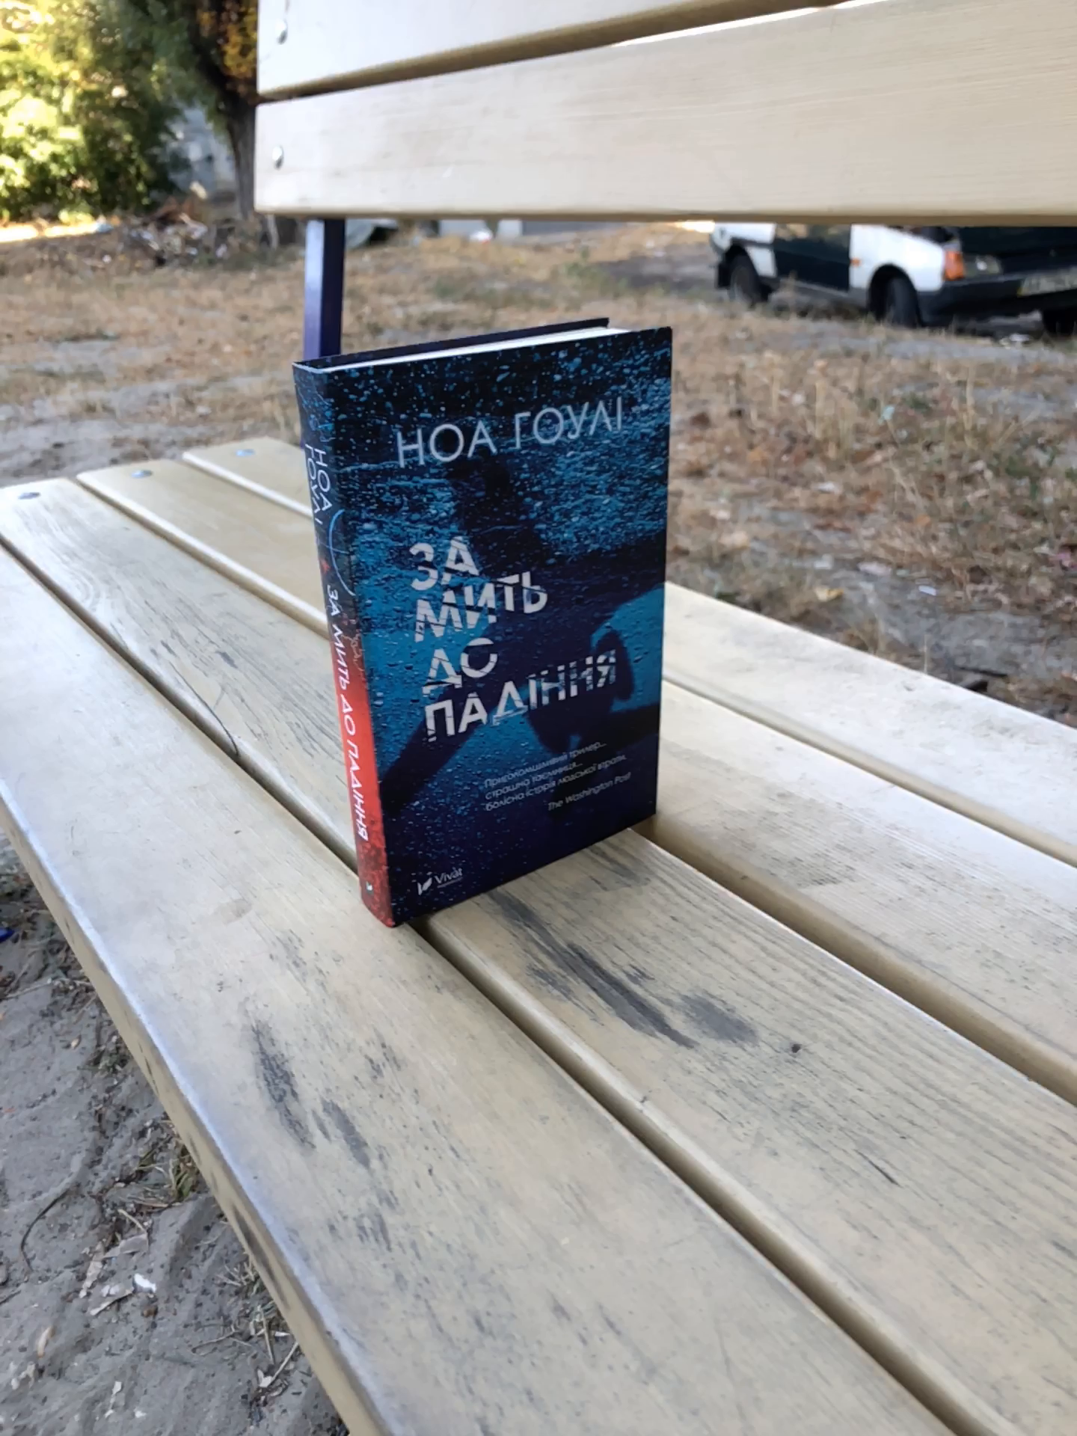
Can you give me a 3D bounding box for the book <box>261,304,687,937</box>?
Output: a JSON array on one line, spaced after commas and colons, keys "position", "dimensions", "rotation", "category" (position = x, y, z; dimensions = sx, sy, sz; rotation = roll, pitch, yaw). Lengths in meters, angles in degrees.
[{"position": [-0.013, -0.037, 0.433], "dimensions": [0.140, 0.199, 0.040], "rotation": [-19, 30, -30], "category": "book"}]
